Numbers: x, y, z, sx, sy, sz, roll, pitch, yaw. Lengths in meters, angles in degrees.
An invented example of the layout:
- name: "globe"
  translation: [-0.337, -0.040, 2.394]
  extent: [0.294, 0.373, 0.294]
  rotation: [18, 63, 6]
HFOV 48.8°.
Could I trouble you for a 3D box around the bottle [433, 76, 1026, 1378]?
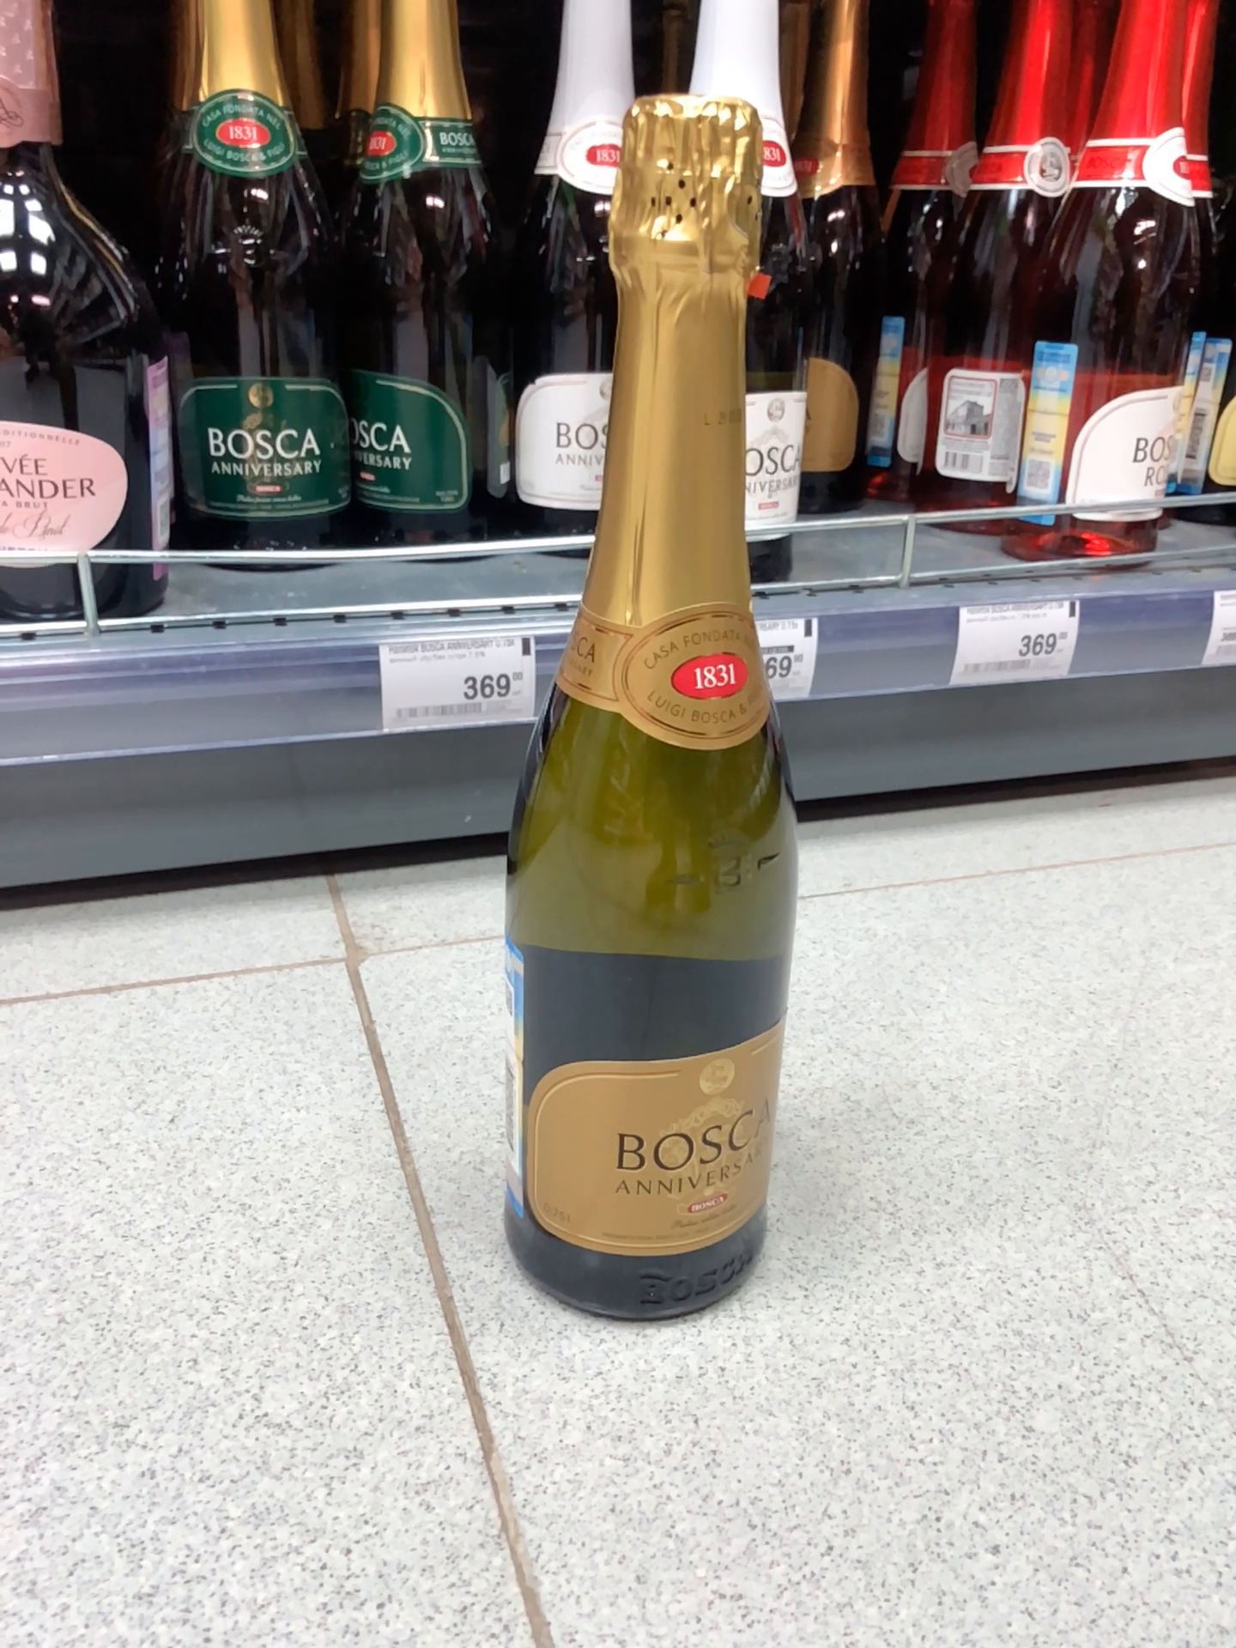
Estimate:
- name: "bottle"
  translation: [0.015, -0.018, 0.372]
  extent: [0.100, 0.314, 0.100]
  rotation: [2, 23, -1]
